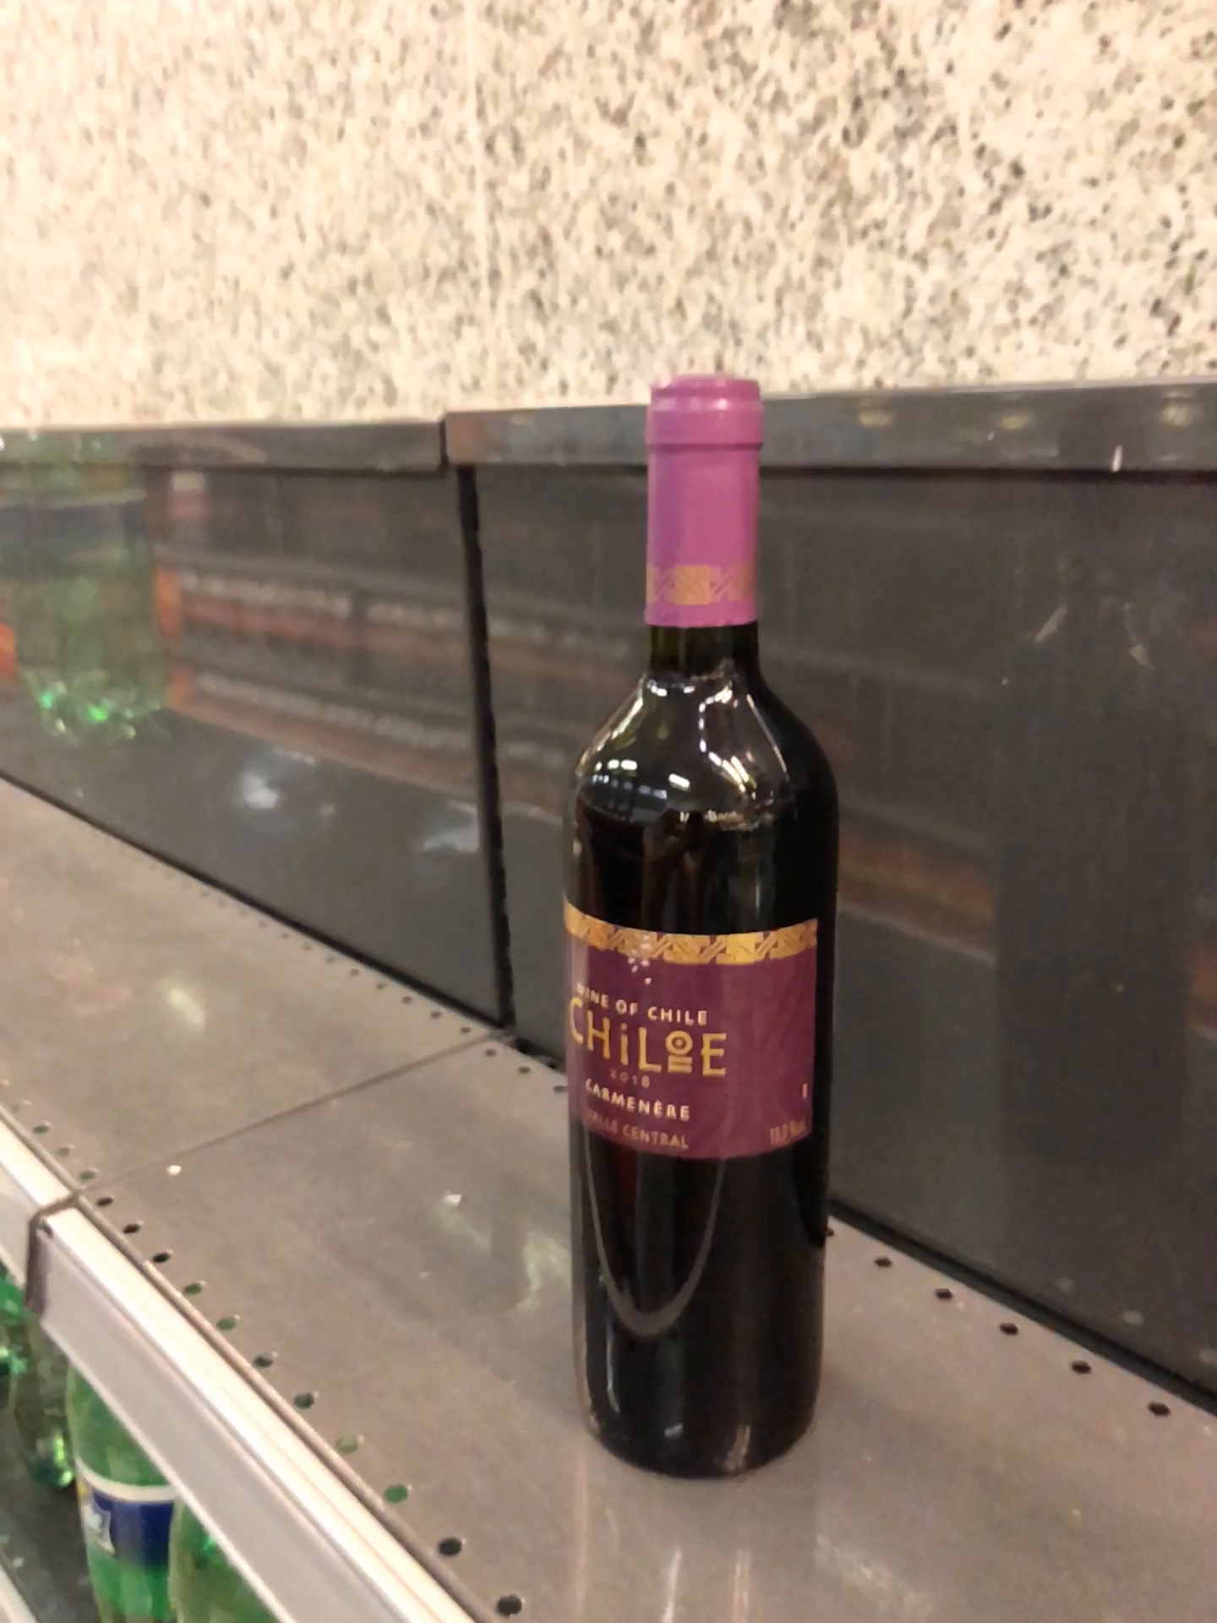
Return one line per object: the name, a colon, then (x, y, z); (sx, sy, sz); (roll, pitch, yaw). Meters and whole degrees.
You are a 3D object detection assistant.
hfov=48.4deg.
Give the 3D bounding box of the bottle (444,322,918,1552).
bottle: (0.027, 0.034, 0.383); (0.090, 0.318, 0.080); (8, 20, 33)
